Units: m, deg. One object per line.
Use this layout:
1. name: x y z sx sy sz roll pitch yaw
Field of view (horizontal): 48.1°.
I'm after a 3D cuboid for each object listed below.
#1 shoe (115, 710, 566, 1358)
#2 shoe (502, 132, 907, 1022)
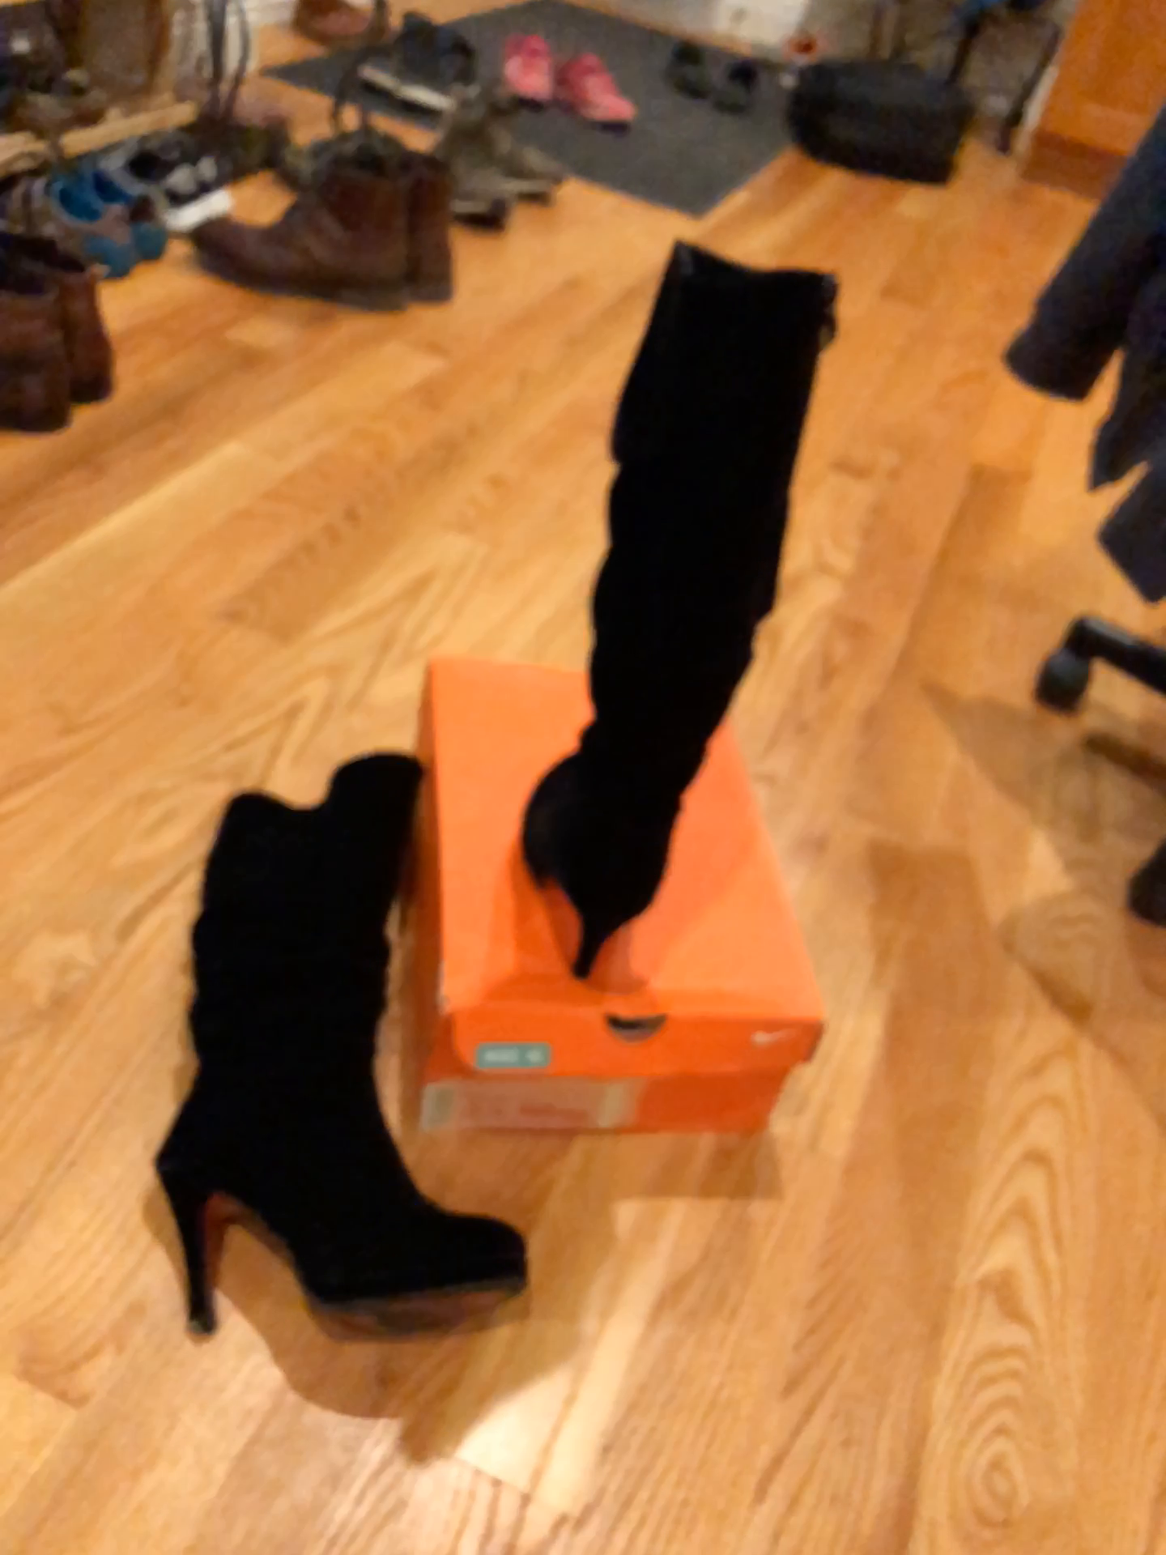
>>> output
1. shoe: -0.142 0.124 0.783 0.206 0.089 0.401 2 41 -12
2. shoe: 0.033 -0.088 0.683 0.089 0.397 0.217 7 40 -9
